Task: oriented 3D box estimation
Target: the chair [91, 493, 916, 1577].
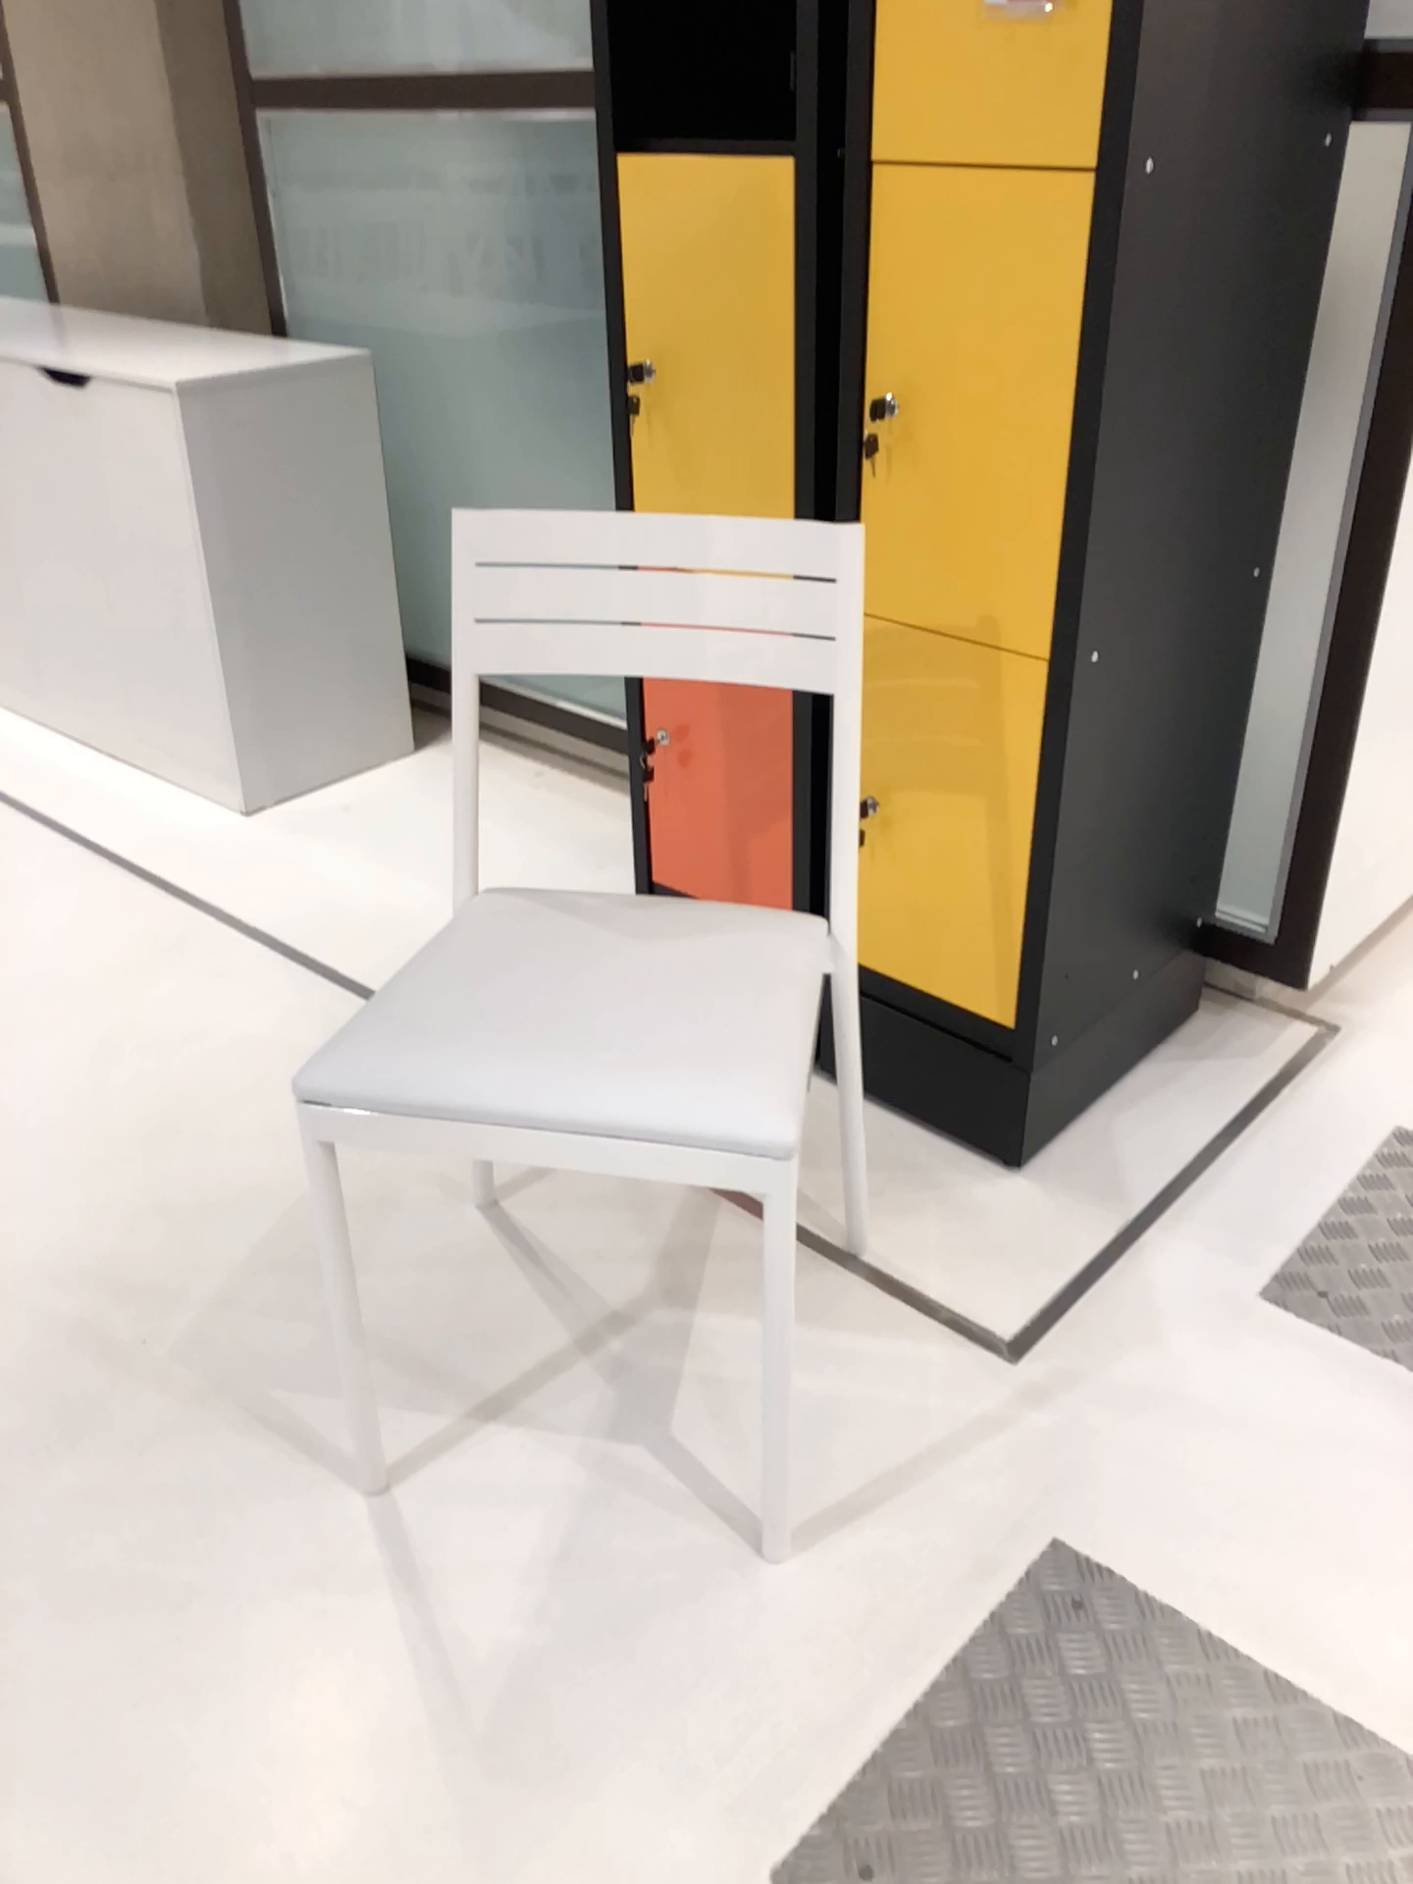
[{"bbox_3d":[-0.100,0.047,1.362,0.480,0.735,0.534,5,30,12],"label":"chair"}]
